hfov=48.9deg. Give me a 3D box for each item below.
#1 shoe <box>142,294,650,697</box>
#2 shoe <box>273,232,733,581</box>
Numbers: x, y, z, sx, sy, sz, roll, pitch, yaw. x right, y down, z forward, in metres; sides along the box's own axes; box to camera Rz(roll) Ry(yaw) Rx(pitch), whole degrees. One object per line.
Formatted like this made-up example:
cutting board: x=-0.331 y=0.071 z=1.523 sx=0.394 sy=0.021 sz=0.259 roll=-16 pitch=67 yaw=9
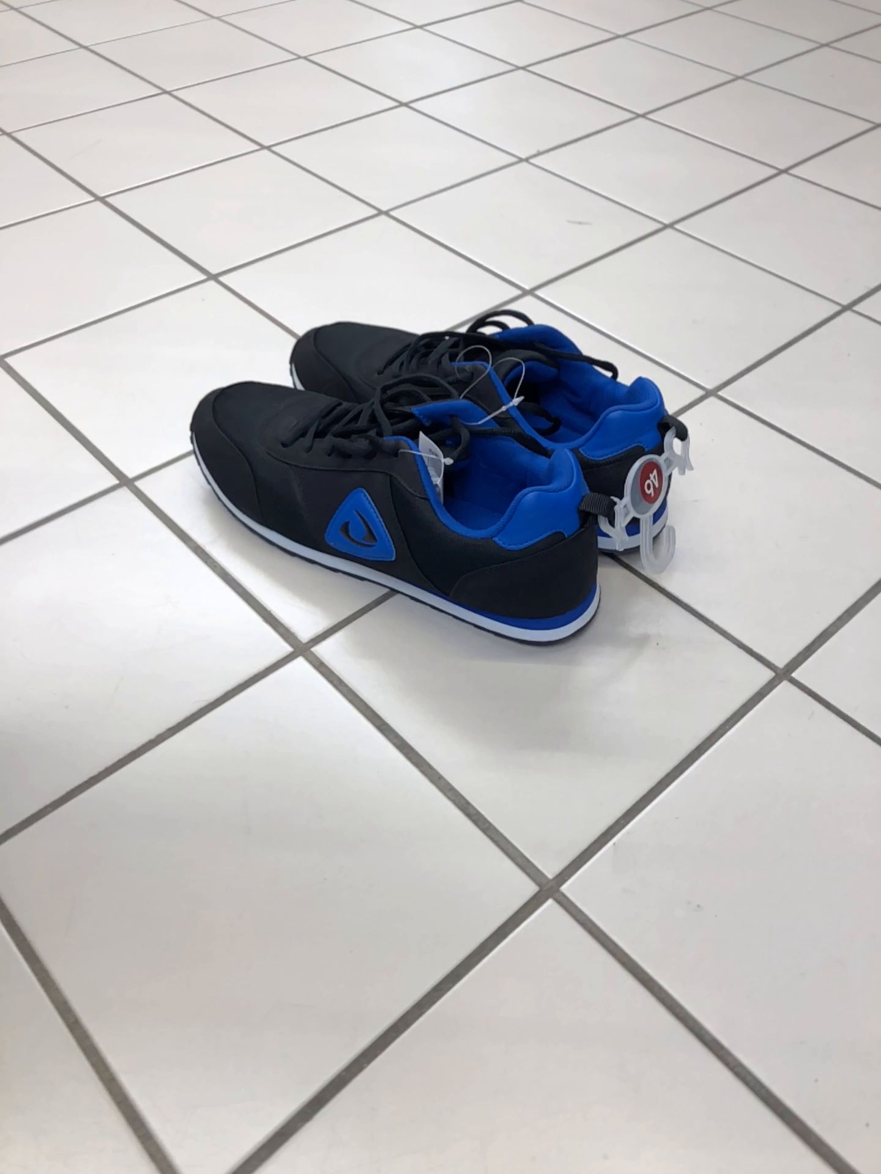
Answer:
shoe: x=-0.034 y=-0.066 z=0.599 sx=0.290 sy=0.109 sz=0.101 roll=27 pitch=51 yaw=22
shoe: x=0.033 y=-0.133 z=0.669 sx=0.290 sy=0.109 sz=0.101 roll=27 pitch=51 yaw=22
